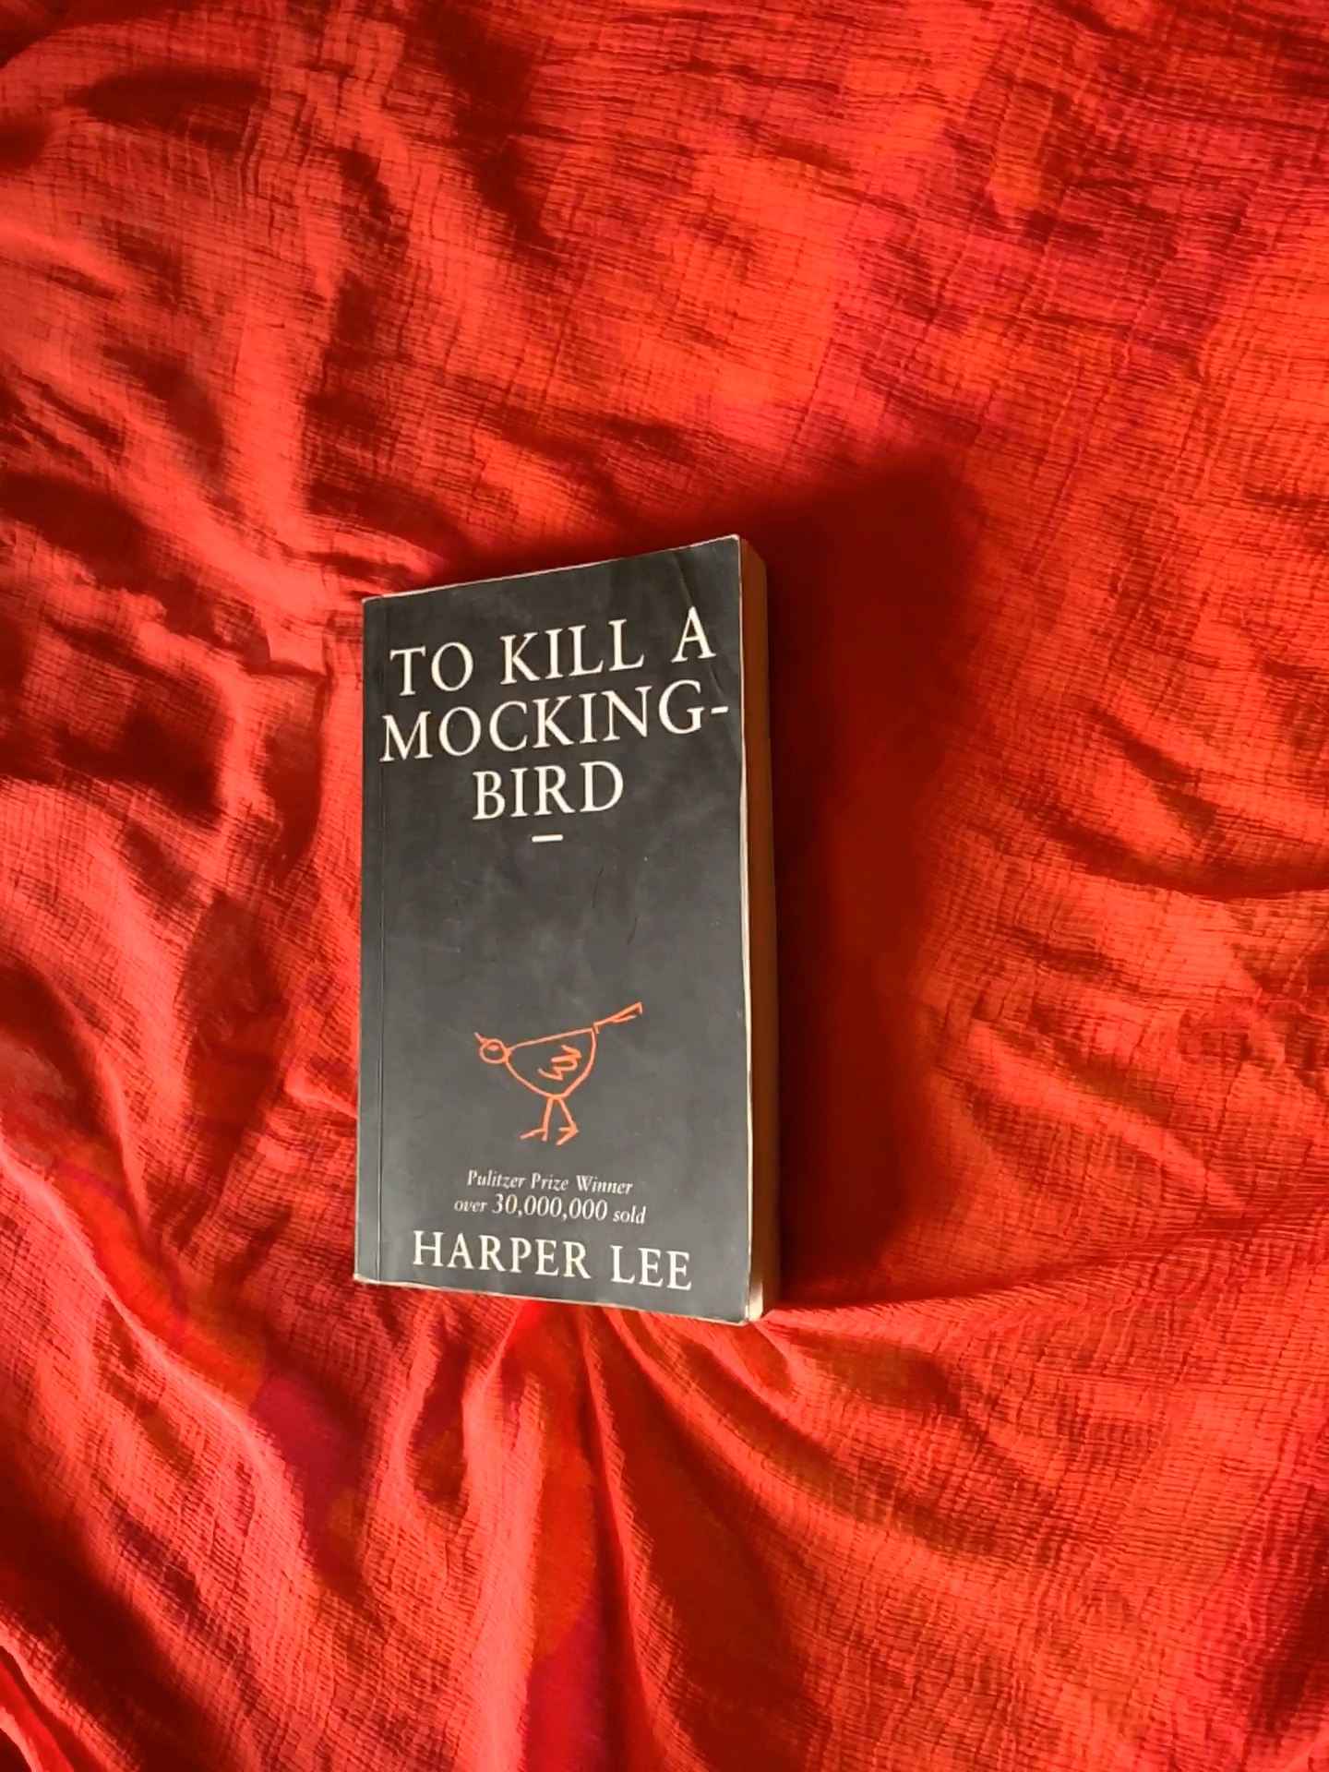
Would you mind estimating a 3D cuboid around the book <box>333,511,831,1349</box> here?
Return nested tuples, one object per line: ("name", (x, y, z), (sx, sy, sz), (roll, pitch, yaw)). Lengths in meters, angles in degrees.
("book", (-0.022, 0.011, 0.334), (0.110, 0.040, 0.180), (-3, 86, 22))
